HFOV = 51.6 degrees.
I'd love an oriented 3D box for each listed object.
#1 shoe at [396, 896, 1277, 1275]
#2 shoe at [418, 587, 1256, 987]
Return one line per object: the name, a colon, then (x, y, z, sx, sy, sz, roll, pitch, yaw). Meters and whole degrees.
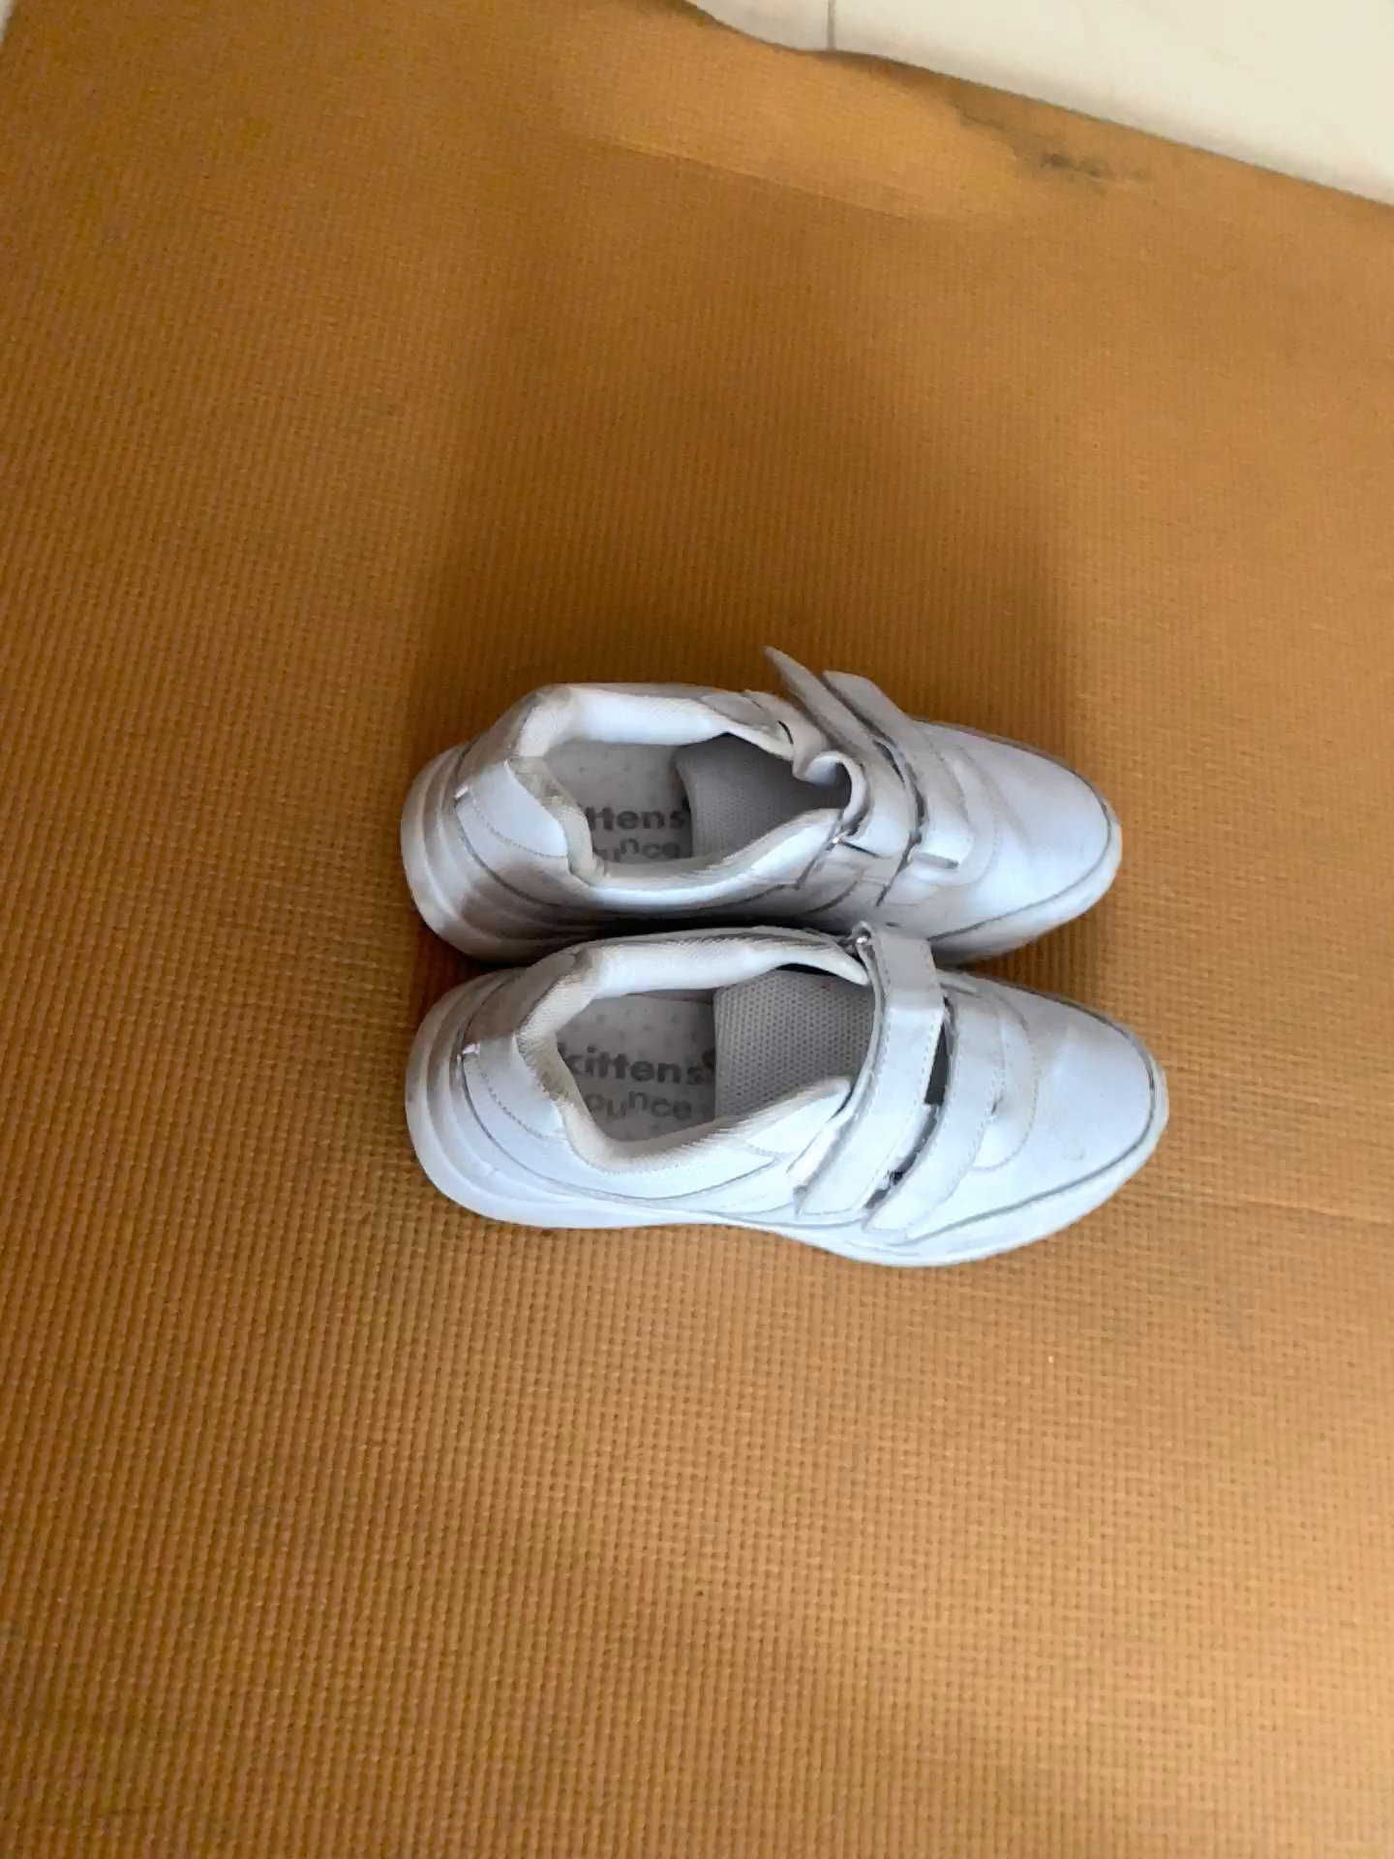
shoe: (0.034, 0.055, 0.440, 0.240, 0.100, 0.090, 3, 72, -13)
shoe: (0.041, -0.039, 0.462, 0.250, 0.070, 0.090, 3, 72, -13)
